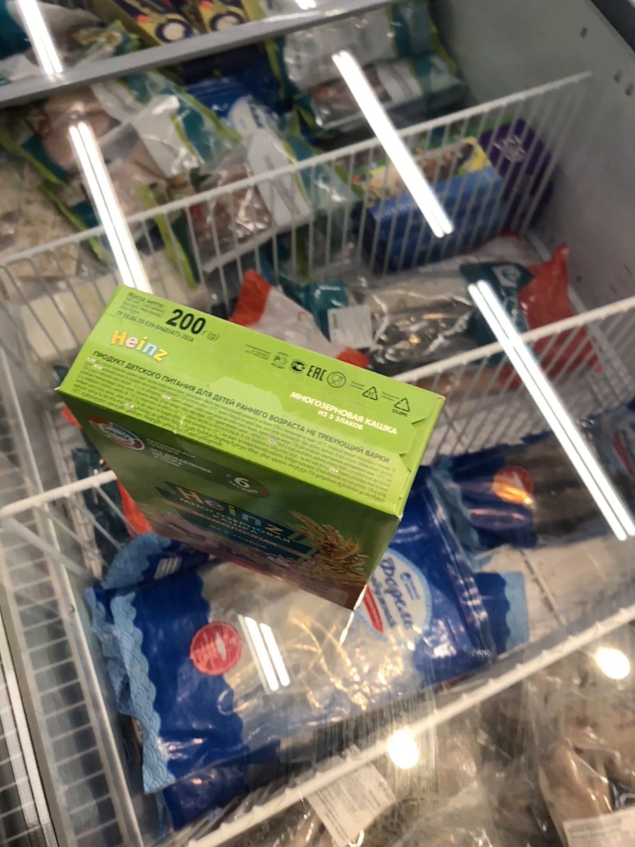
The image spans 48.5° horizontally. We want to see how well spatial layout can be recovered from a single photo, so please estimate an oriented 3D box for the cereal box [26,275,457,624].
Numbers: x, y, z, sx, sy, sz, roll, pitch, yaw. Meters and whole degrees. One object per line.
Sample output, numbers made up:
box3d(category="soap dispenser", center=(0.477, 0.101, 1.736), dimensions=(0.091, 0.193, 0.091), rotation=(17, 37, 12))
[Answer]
box3d(category="cereal box", center=(-0.029, 0.030, 0.335), dimensions=(0.140, 0.199, 0.050), rotation=(20, 67, 7))
